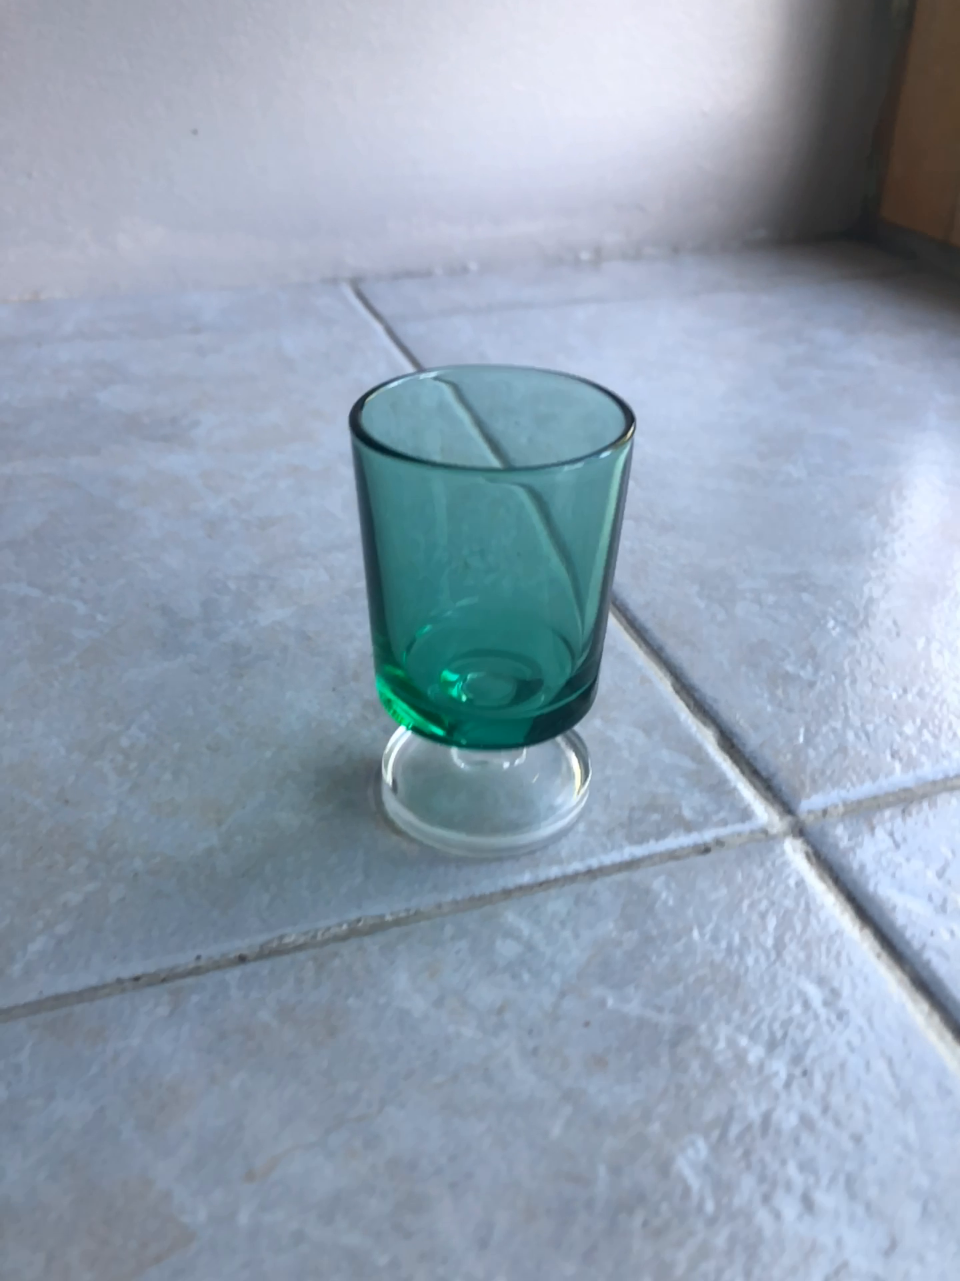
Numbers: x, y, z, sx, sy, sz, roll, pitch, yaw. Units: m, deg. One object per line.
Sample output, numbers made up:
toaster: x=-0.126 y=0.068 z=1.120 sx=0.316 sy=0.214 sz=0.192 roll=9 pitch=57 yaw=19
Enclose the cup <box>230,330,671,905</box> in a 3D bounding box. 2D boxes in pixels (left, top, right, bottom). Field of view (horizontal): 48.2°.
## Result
cup: x=-0.002 y=-0.005 z=0.168 sx=0.045 sy=0.068 sz=0.044 roll=-1 pitch=34 yaw=1
